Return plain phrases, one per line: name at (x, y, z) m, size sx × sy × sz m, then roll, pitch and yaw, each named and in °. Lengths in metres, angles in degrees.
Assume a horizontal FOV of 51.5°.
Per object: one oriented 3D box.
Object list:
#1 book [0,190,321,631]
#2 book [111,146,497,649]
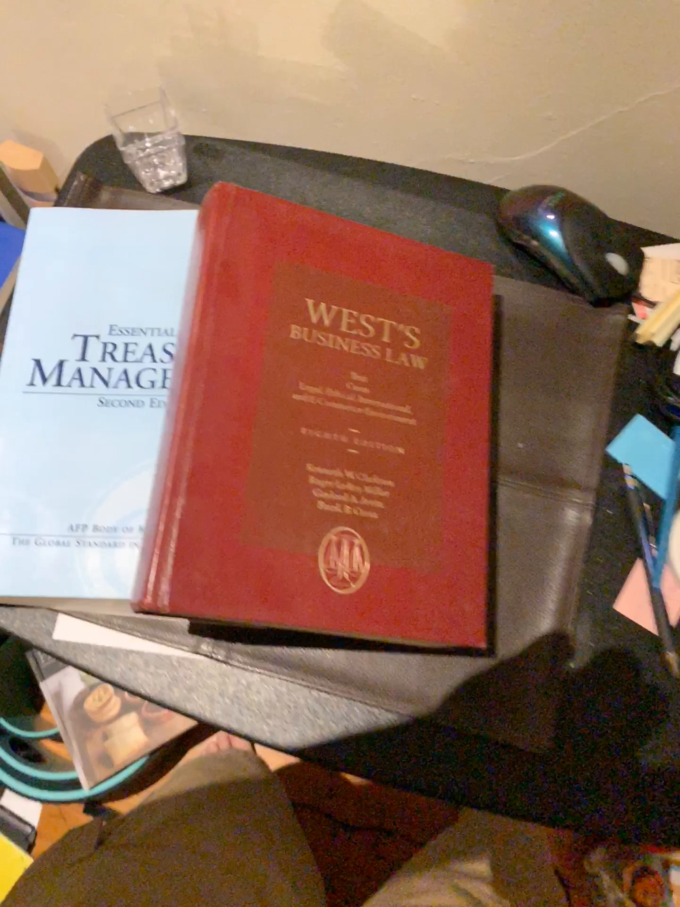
book at (-0.136, -0.033, 0.467) m, size 0.220 × 0.070 × 0.270 m, roll 4°, pitch 73°, yaw 3°
book at (-0.007, -0.028, 0.434) m, size 0.210 × 0.050 × 0.270 m, roll 11°, pitch 71°, yaw -20°
